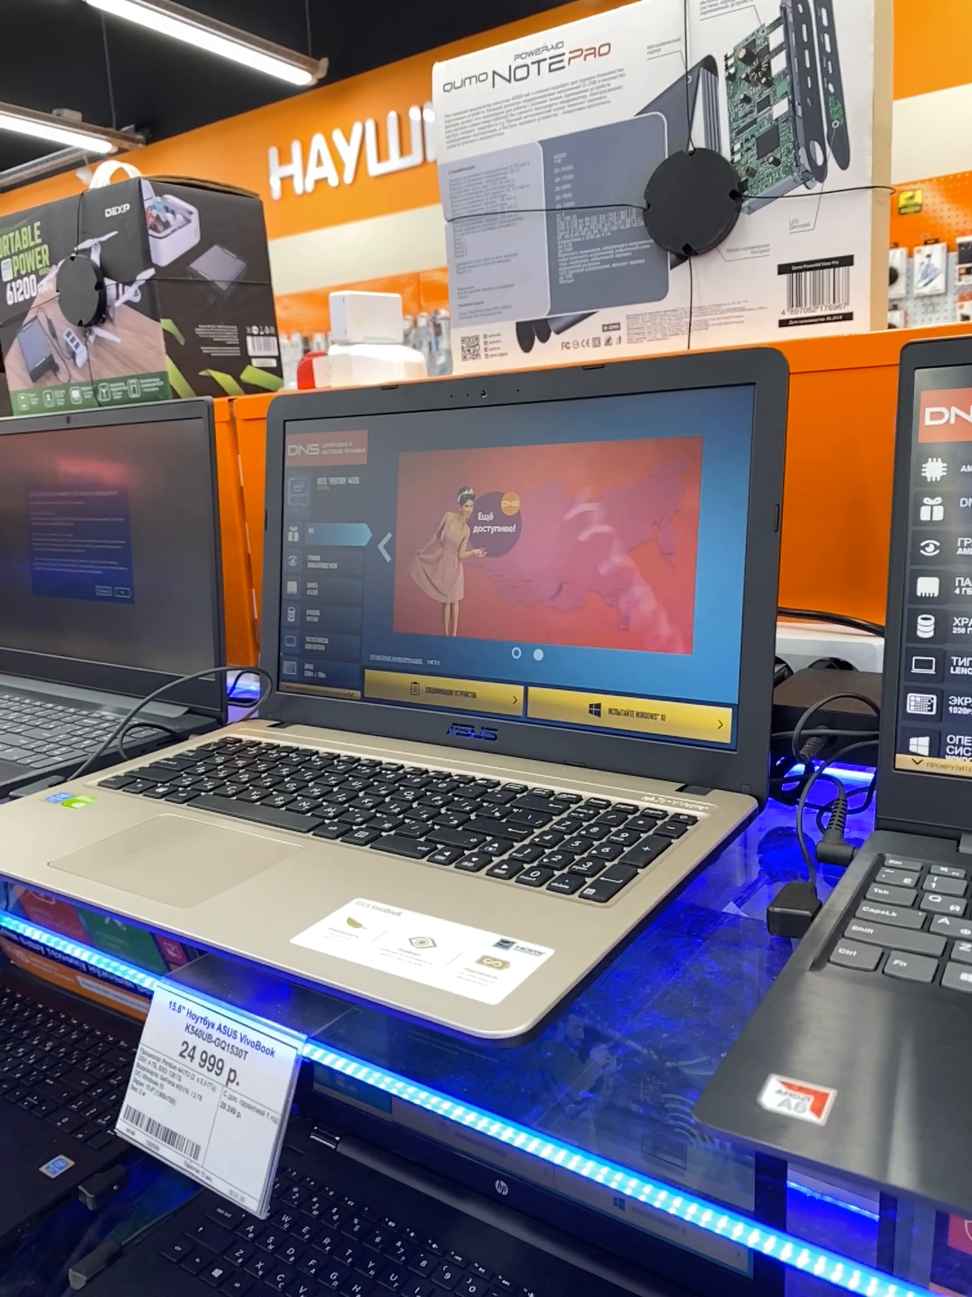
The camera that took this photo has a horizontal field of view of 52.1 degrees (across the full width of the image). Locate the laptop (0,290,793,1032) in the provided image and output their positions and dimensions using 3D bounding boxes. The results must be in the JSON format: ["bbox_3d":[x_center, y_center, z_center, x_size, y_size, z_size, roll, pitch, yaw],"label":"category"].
[{"bbox_3d":[-0.071,-0.028,0.528,0.377,0.231,0.293,4,13,34],"label":"laptop"}]
